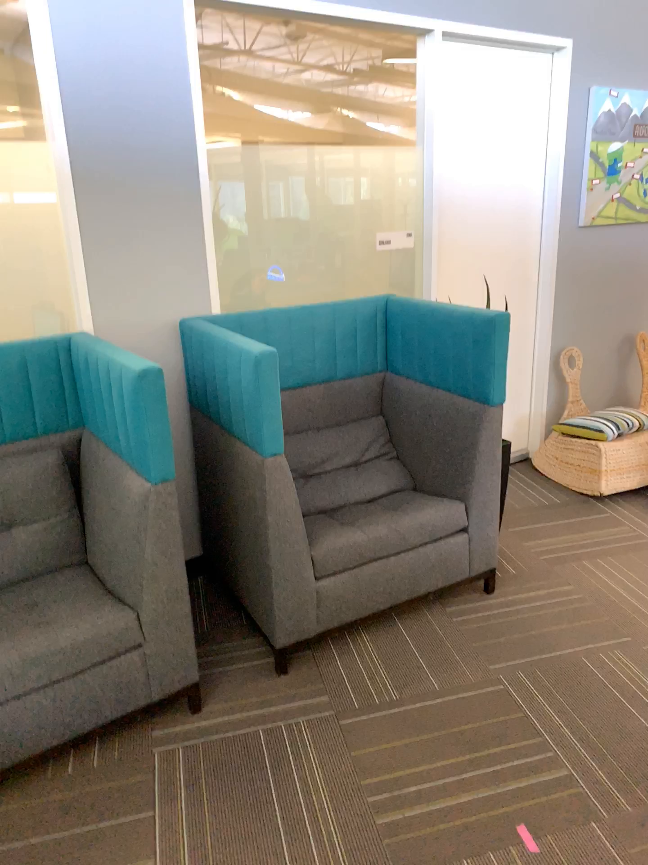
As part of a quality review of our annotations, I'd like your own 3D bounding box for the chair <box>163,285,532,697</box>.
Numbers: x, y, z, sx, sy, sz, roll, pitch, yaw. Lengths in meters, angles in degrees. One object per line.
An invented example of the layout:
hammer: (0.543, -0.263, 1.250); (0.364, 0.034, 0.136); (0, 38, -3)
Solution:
chair: (0.063, 0.097, 2.745); (1.050, 1.214, 1.014); (-12, 21, -27)
